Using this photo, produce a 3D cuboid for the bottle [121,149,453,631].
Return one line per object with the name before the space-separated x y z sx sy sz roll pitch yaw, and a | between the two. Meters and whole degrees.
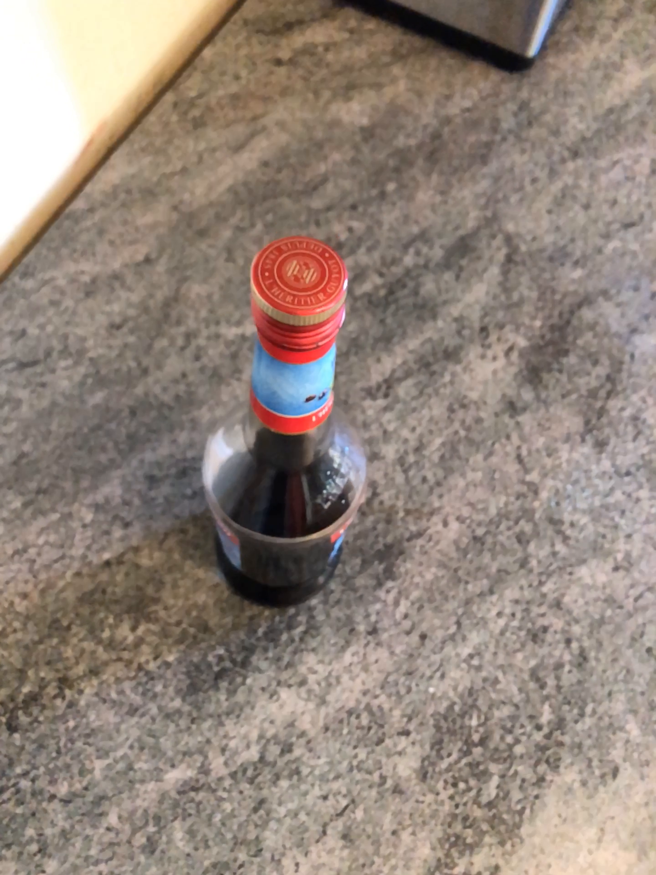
bottle | -0.026 0.012 0.362 0.090 0.299 0.090 2 64 -4
